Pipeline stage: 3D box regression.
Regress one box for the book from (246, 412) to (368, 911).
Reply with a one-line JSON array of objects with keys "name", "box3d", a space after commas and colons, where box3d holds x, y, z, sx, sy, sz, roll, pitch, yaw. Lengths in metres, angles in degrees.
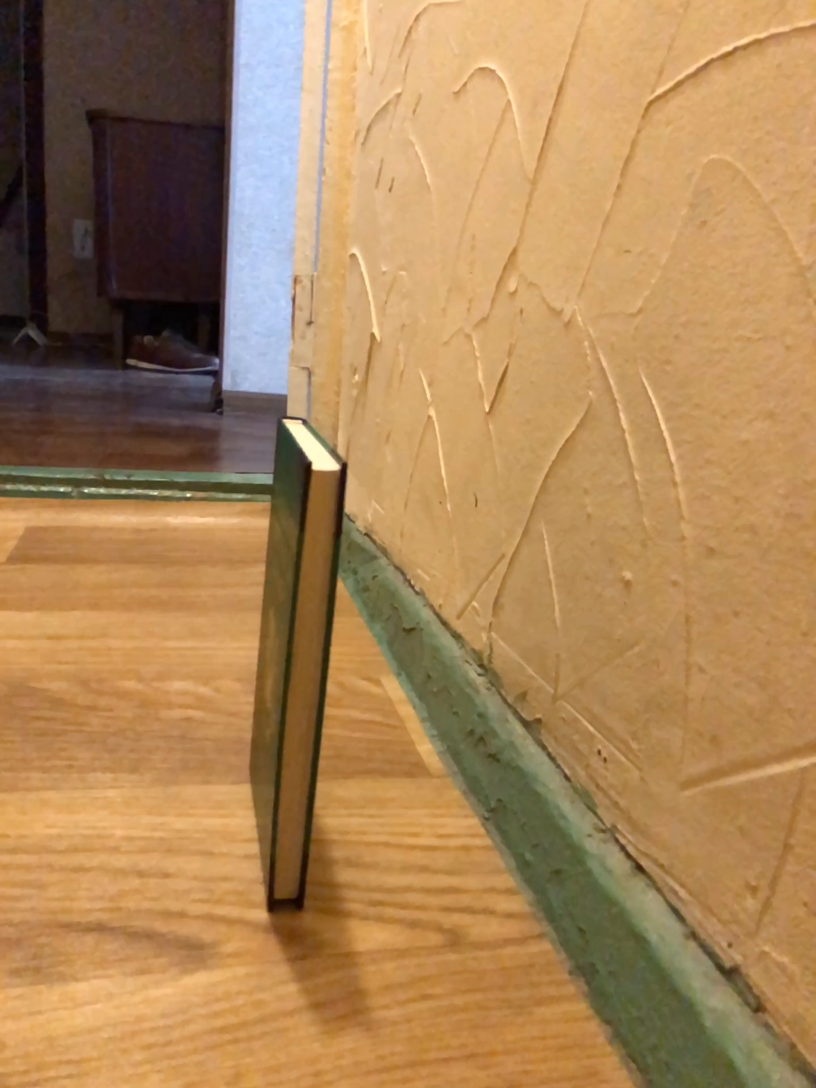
[{"name": "book", "box3d": [-0.055, 0.044, 0.433, 0.024, 0.197, 0.148, 4, 13, -14]}]
